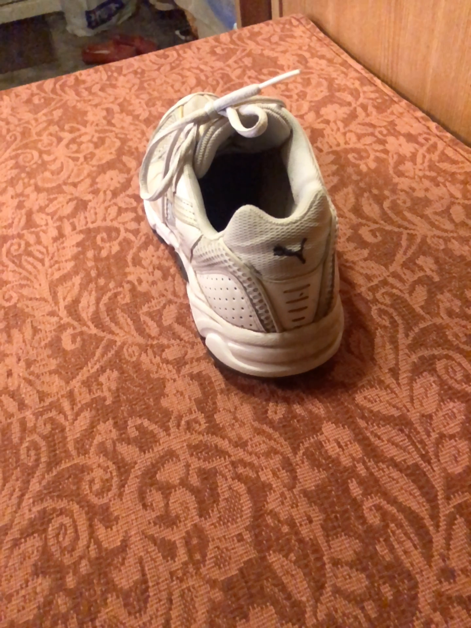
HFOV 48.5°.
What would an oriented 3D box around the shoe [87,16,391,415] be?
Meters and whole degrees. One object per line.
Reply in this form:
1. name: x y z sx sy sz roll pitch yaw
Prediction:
1. shoe: -0.019 -0.092 0.350 0.100 0.100 0.291 -17 47 -7
